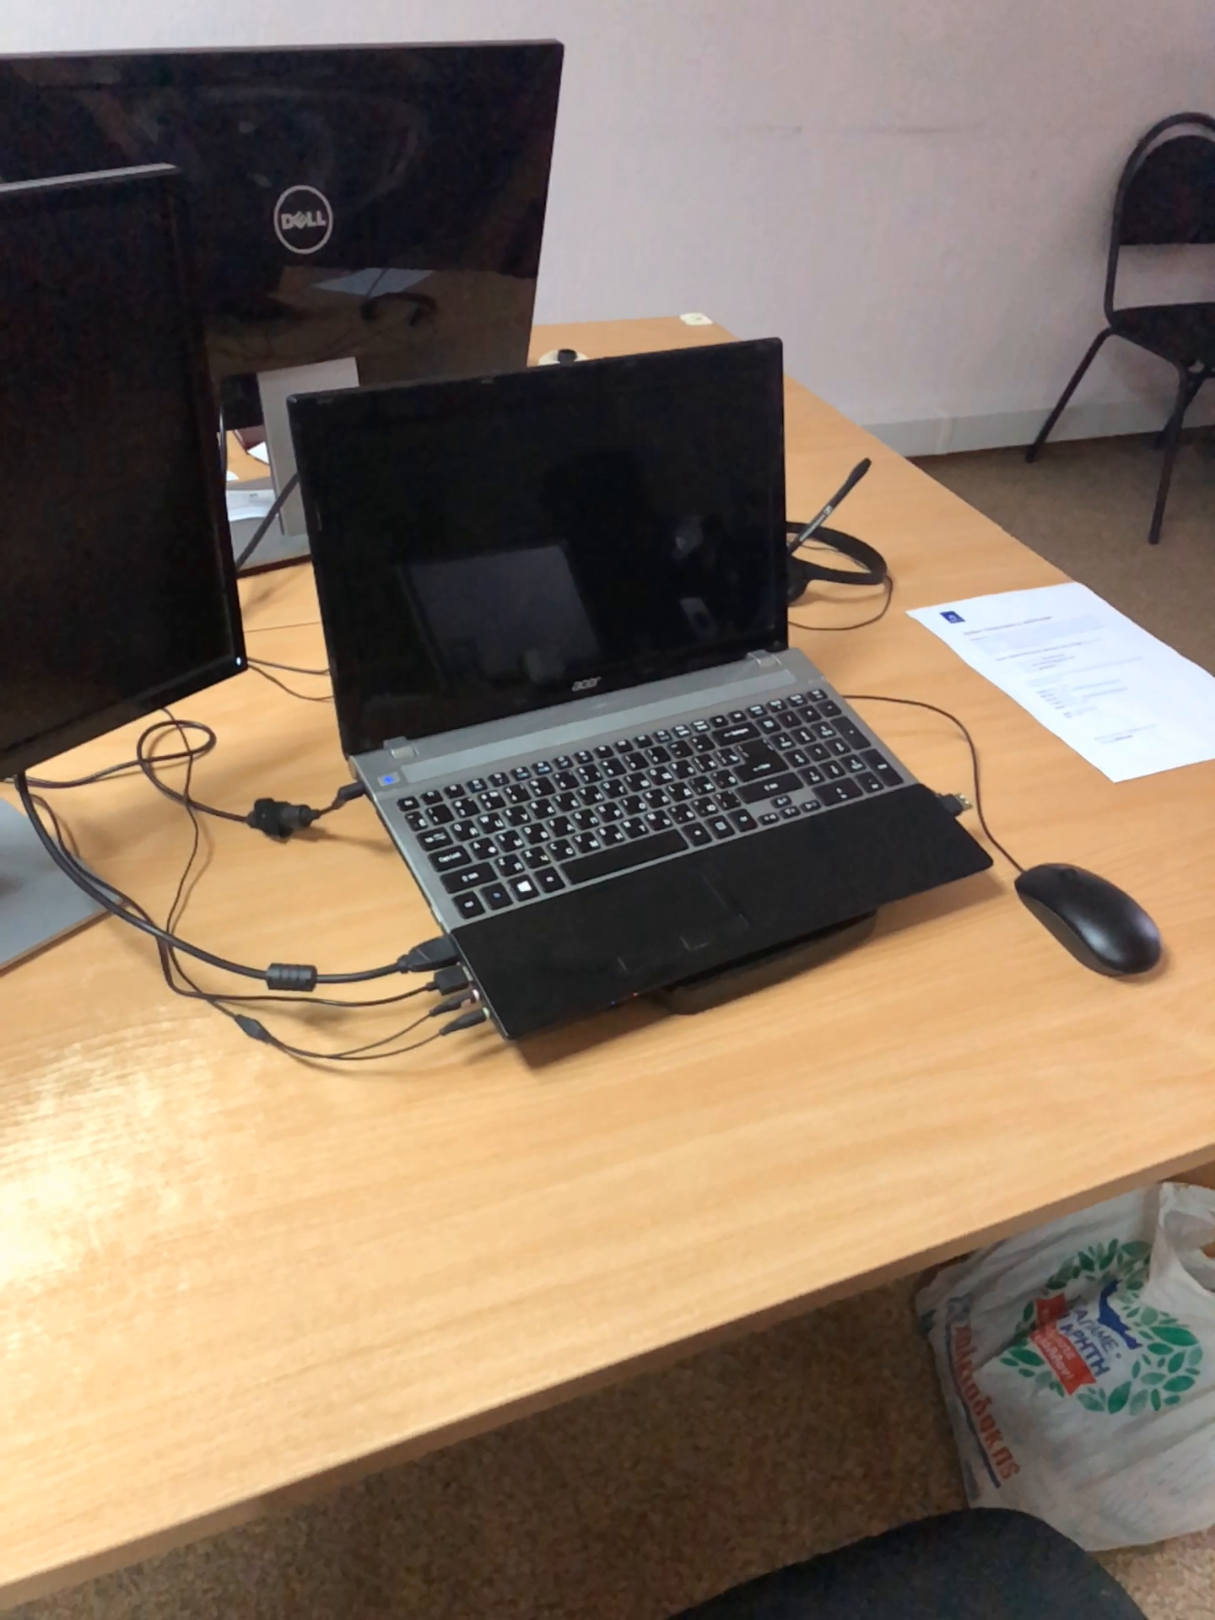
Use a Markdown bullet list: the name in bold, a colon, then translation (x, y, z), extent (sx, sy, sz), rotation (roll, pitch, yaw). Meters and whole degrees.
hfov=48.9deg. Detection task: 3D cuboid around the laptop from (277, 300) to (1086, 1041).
- **laptop**: translation (0.031, -0.123, 0.871), extent (0.370, 0.215, 0.353), rotation (-16, 49, -26)
